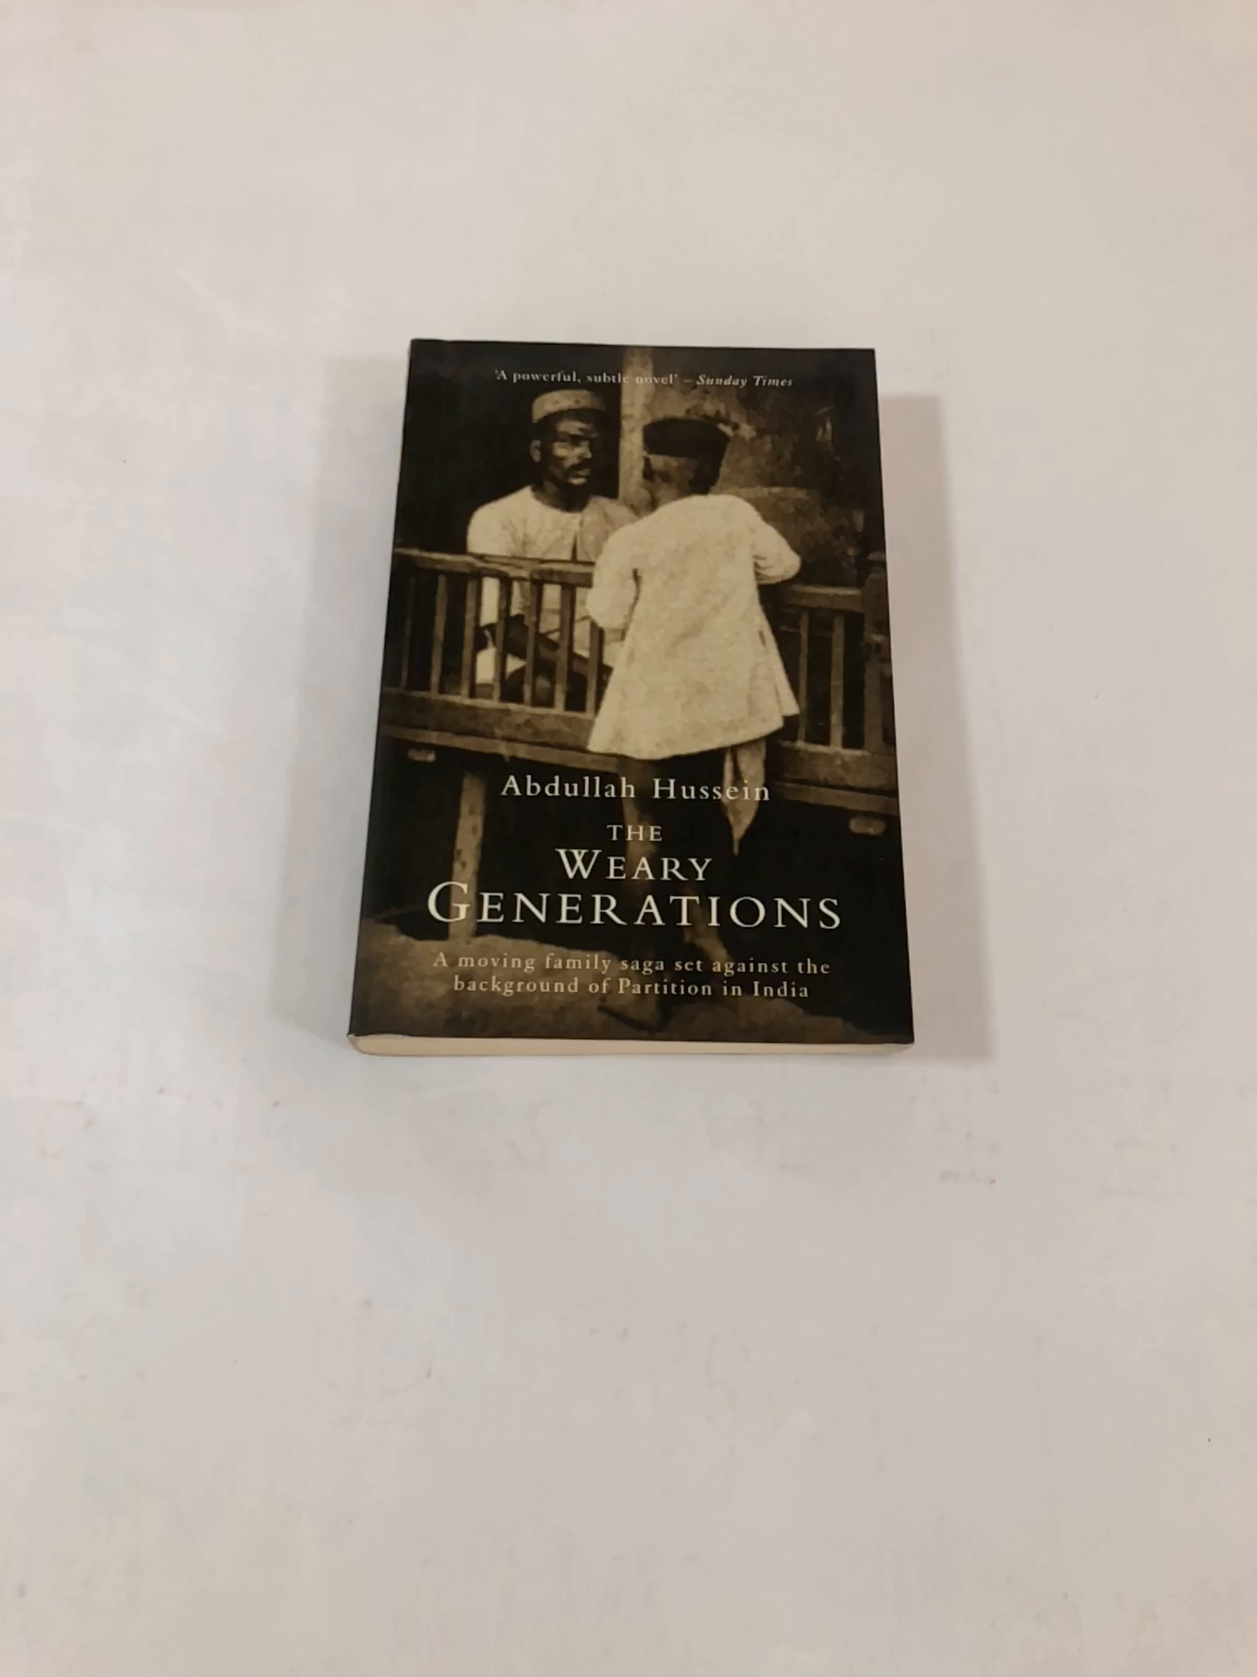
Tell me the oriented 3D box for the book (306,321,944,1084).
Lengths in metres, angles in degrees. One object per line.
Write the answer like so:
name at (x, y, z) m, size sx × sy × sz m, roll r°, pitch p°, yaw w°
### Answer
book at (0.001, -0.041, 0.359) m, size 0.140 × 0.030 × 0.200 m, roll 1°, pitch 68°, yaw 0°
